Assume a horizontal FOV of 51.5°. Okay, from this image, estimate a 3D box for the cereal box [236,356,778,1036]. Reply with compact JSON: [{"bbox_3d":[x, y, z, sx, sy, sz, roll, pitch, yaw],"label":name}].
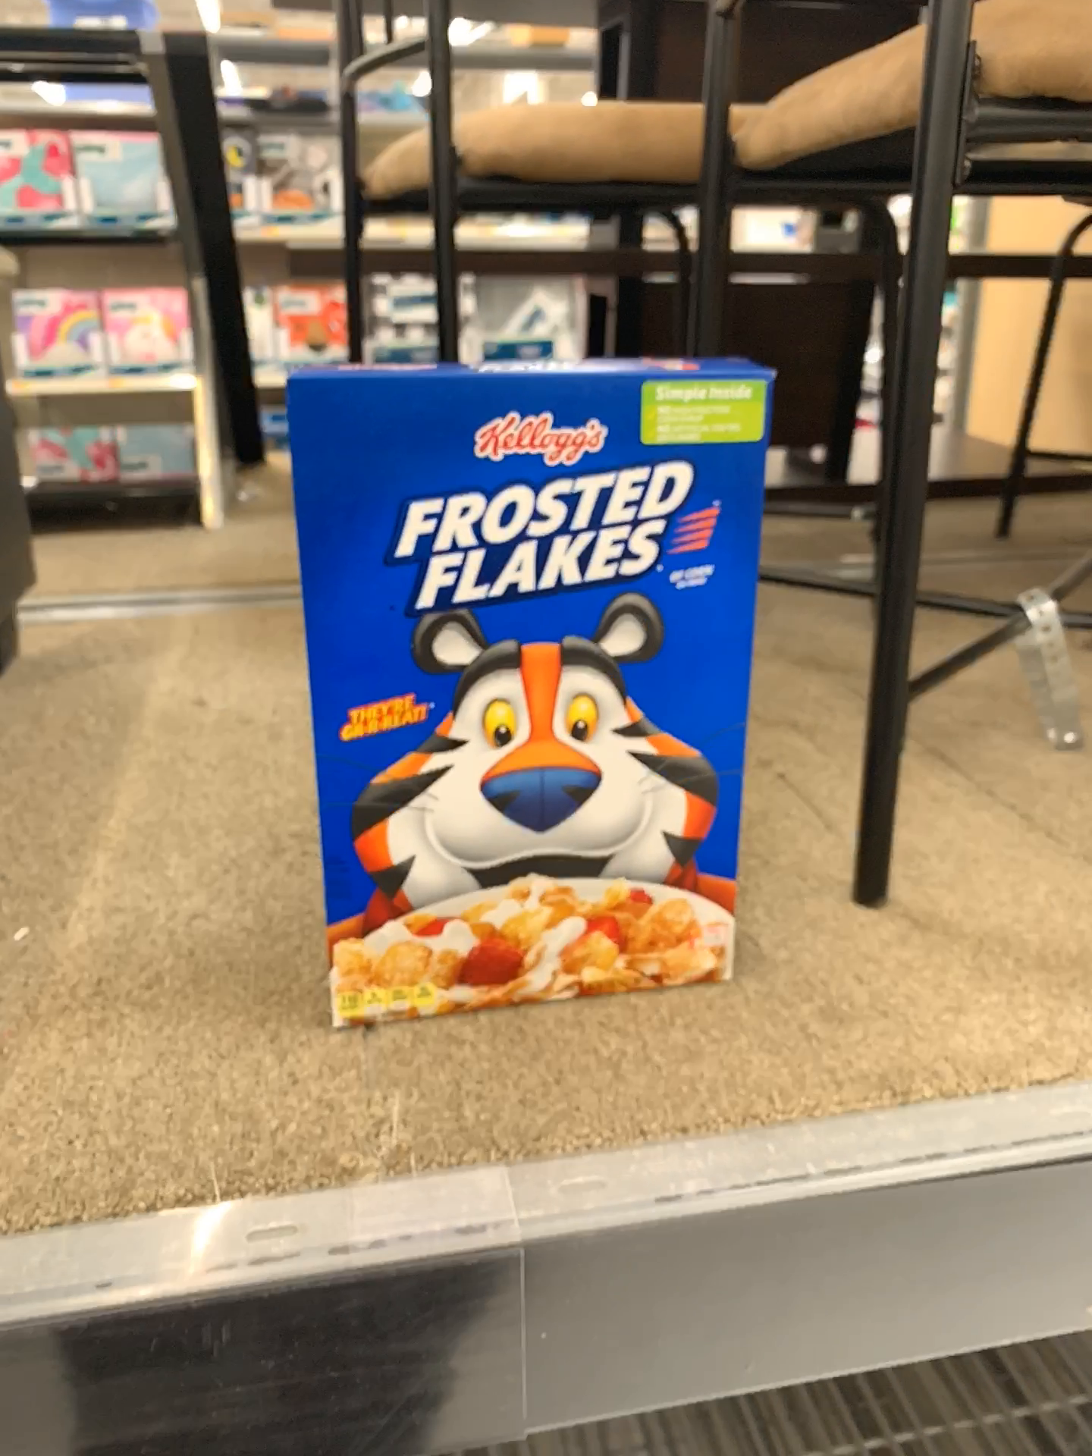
[{"bbox_3d":[-0.017,-0.014,0.516,0.210,0.289,0.070,-4,21,-10],"label":"cereal box"}]
